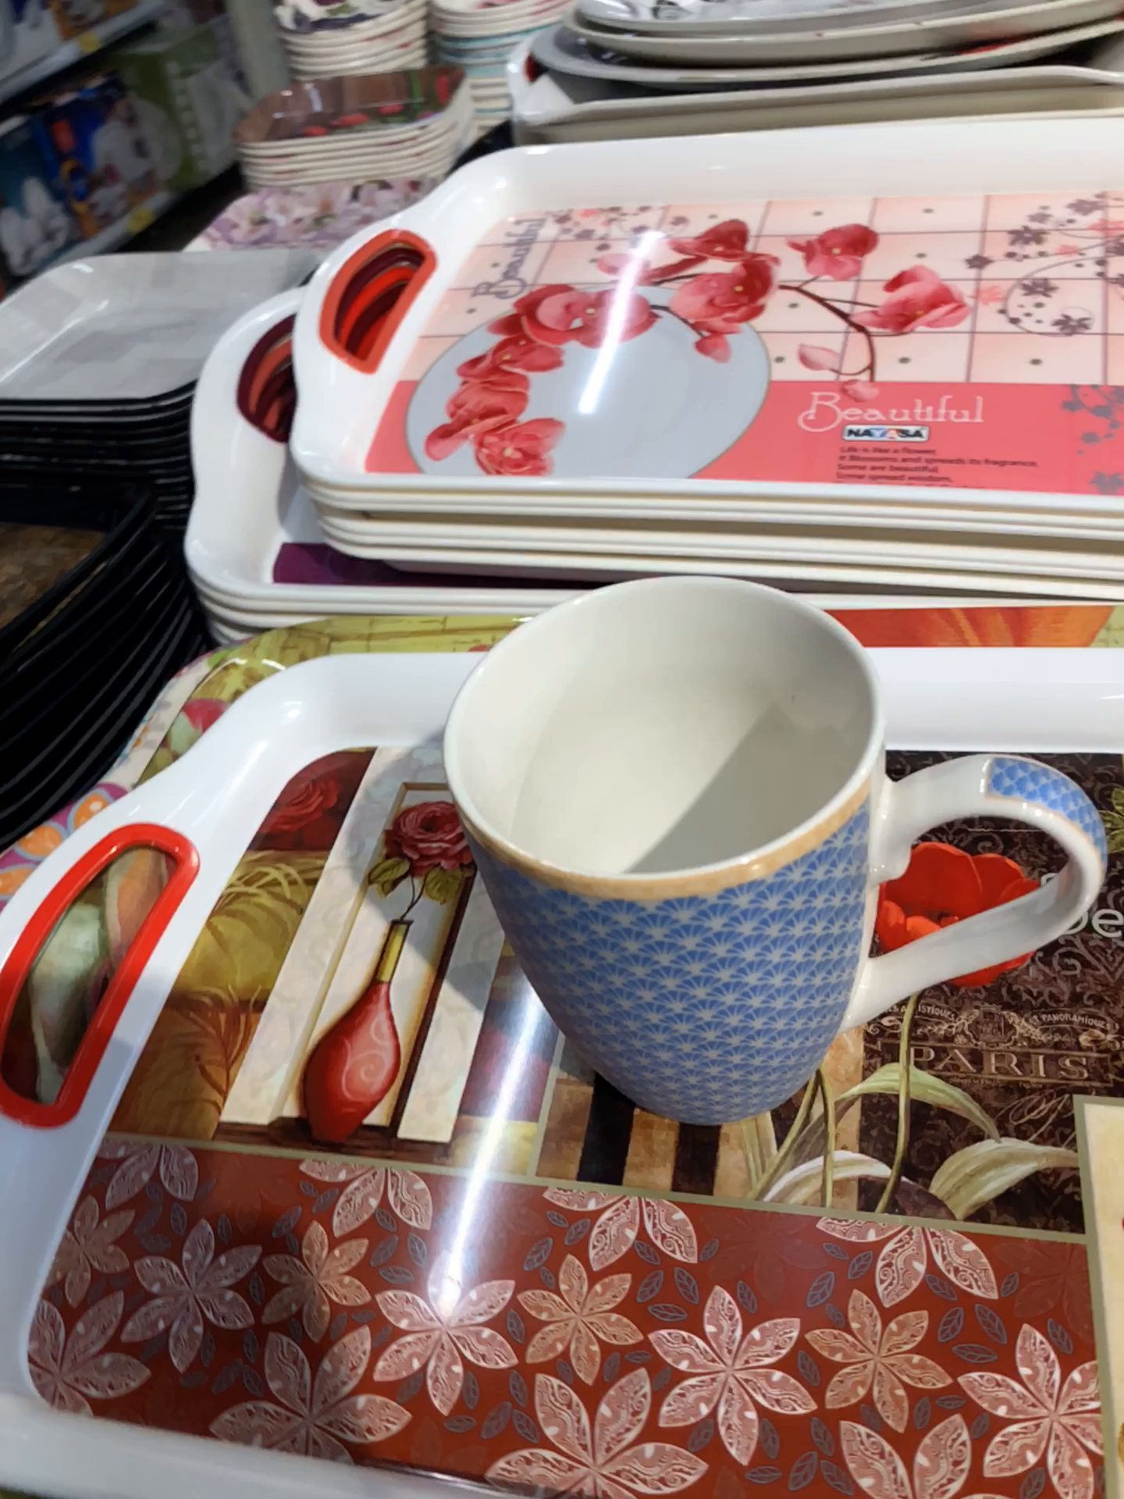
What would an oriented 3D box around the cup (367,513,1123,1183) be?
[{"bbox_3d":[0.041,0.019,0.250,0.120,0.099,0.081,1,42,13],"label":"cup"}]
